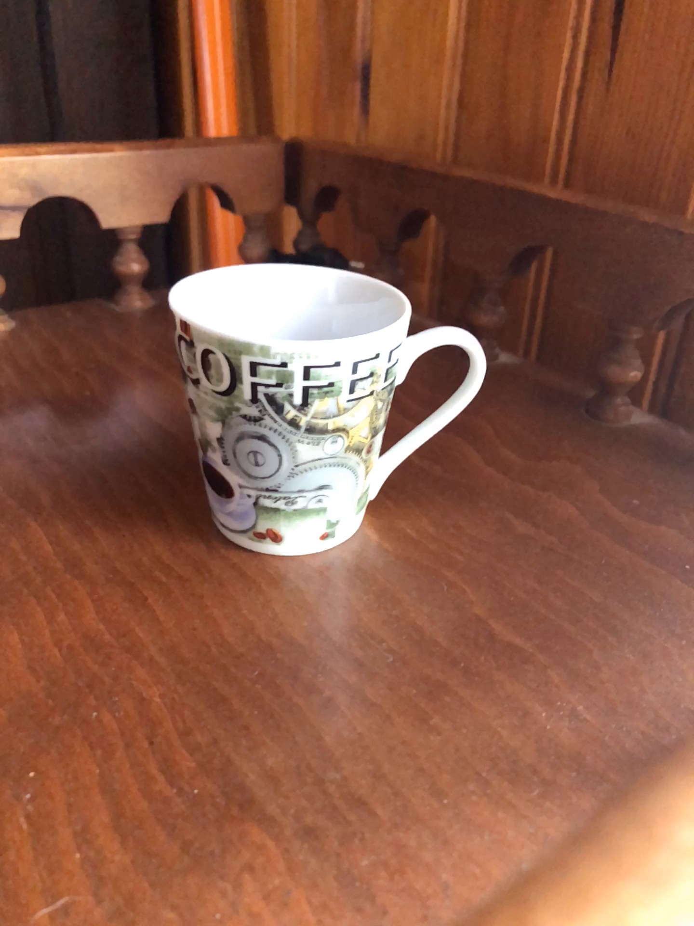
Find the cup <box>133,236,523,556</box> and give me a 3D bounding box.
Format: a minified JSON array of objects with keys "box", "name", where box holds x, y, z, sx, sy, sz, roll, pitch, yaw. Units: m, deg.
[{"box":[-0.007,-0.020,0.199,0.080,0.060,0.060,-2,29,-8],"name":"cup"}]
